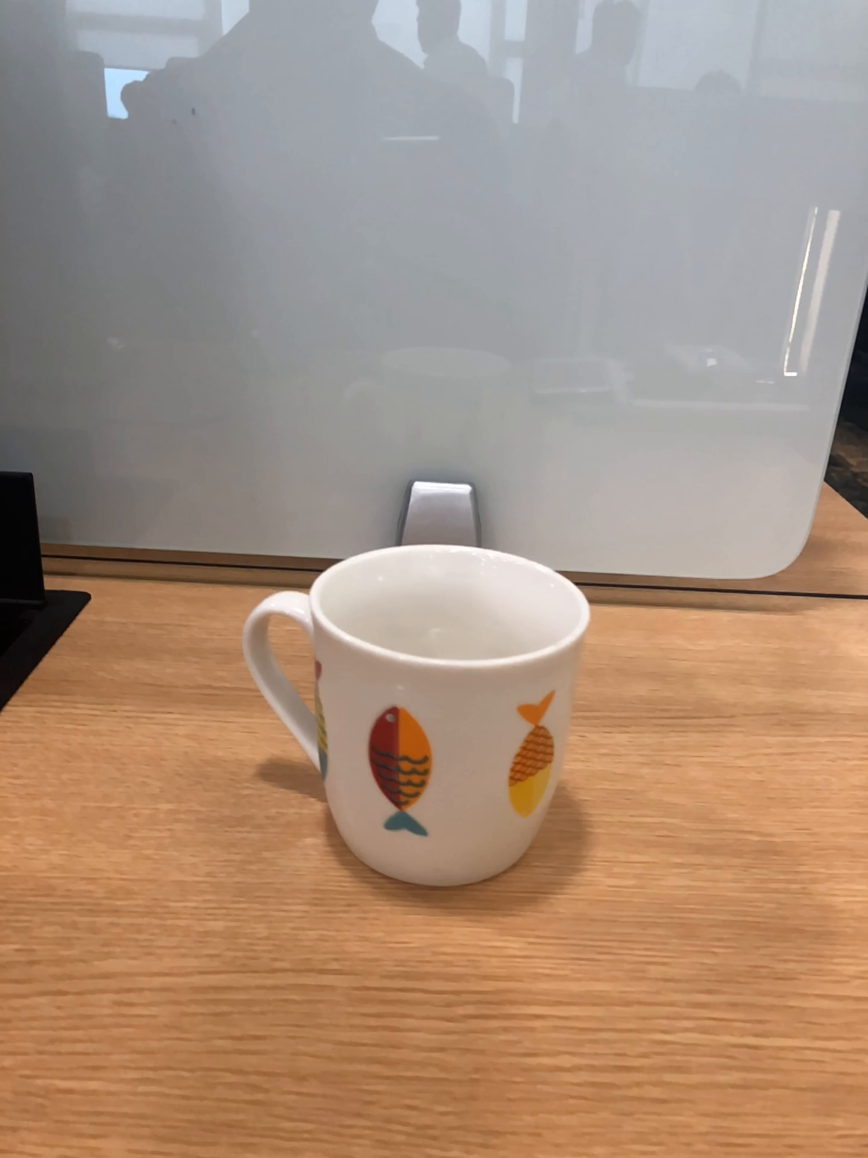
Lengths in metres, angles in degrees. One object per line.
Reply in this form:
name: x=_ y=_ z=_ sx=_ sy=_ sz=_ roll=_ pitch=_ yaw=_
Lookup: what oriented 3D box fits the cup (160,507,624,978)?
cup: x=-0.010 y=0.041 z=0.290 sx=0.110 sy=0.090 sz=0.080 roll=11 pitch=24 yaw=16
